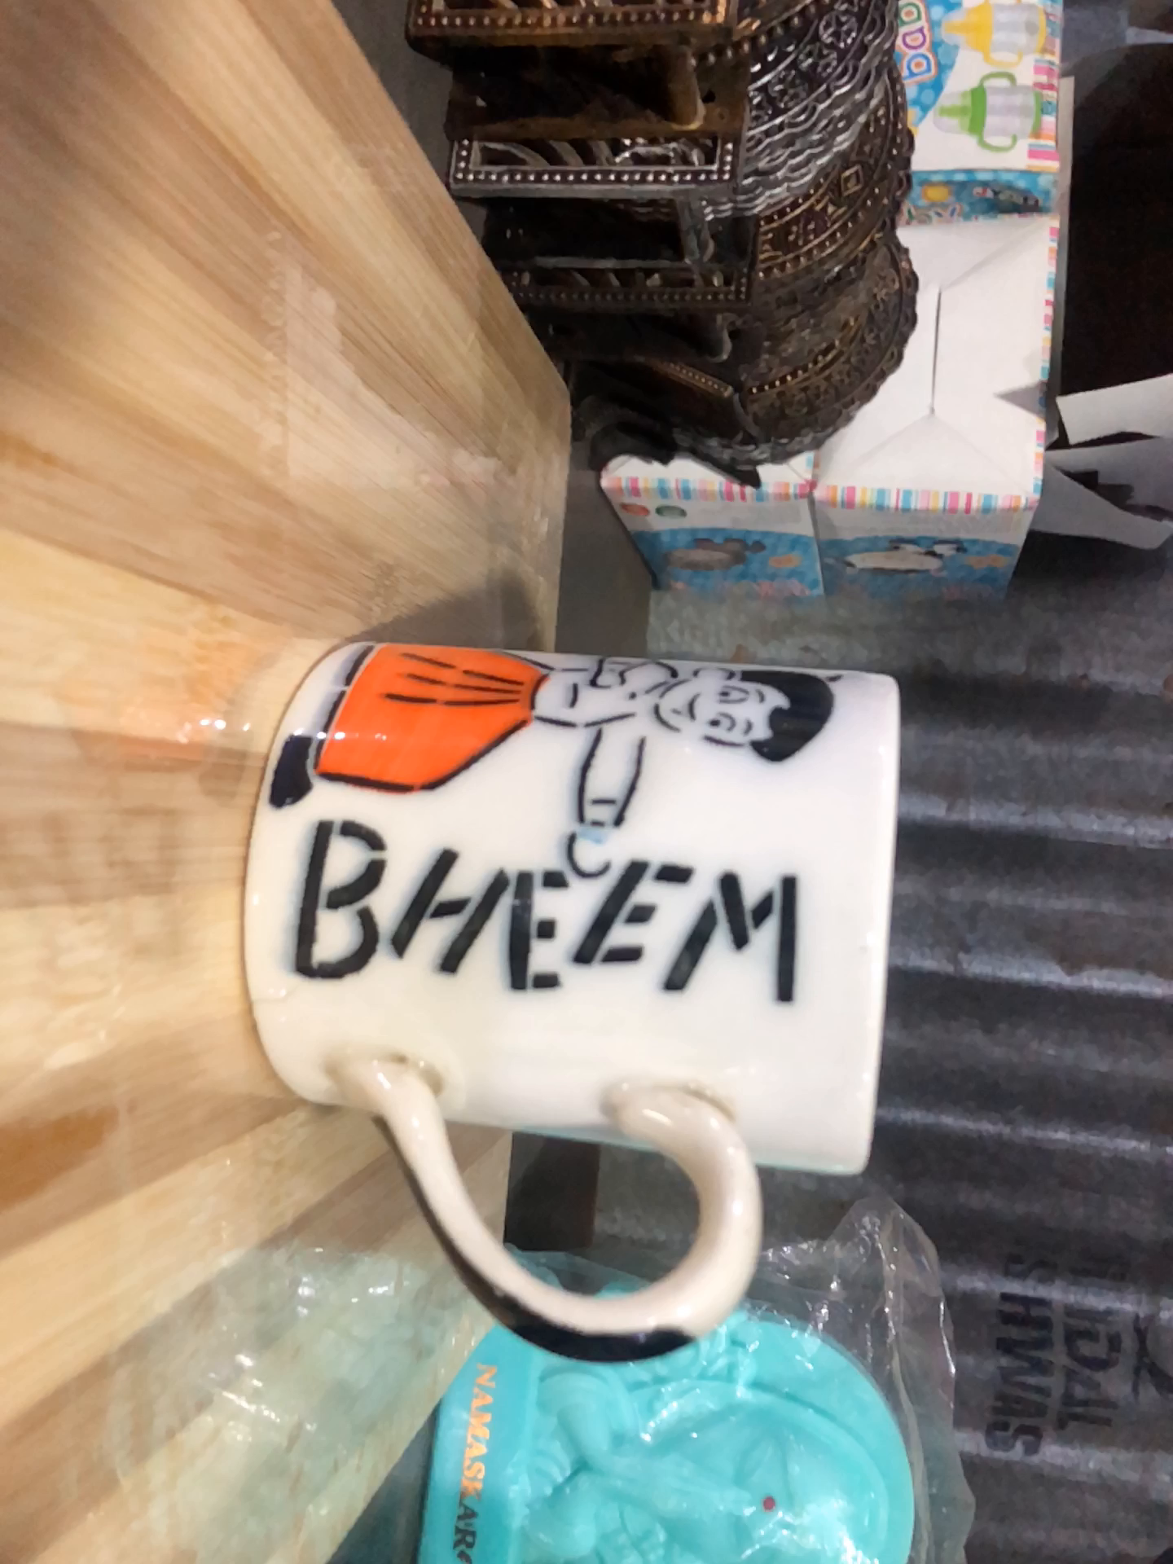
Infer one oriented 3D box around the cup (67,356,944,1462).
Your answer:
[{"bbox_3d":[0.005,0.017,0.192,0.100,0.080,0.120,83,15,-51],"label":"cup"}]
